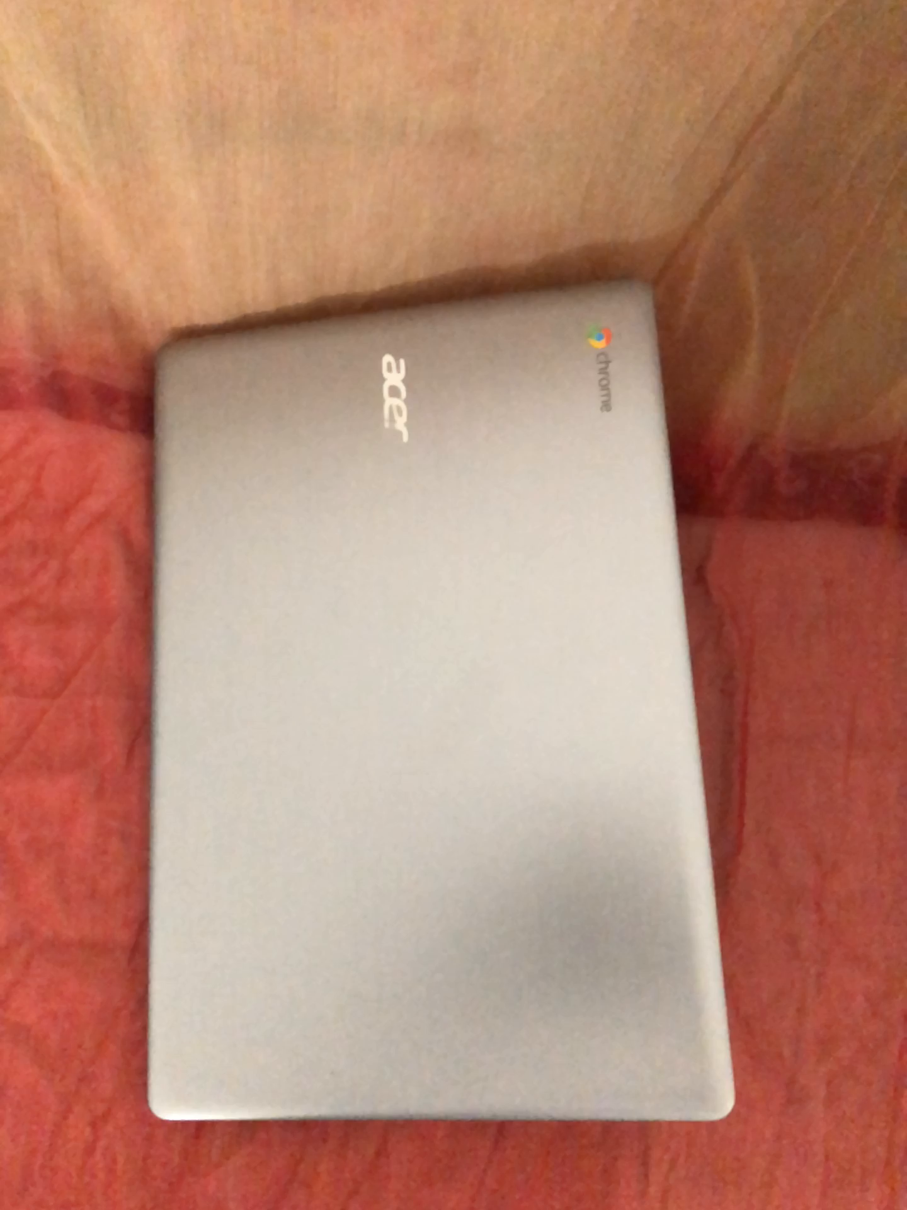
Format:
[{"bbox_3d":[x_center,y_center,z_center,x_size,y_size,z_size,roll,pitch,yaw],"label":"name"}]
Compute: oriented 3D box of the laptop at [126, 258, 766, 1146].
[{"bbox_3d":[-0.012,0.027,0.406,0.219,0.066,0.322,-2,79,-3],"label":"laptop"}]
